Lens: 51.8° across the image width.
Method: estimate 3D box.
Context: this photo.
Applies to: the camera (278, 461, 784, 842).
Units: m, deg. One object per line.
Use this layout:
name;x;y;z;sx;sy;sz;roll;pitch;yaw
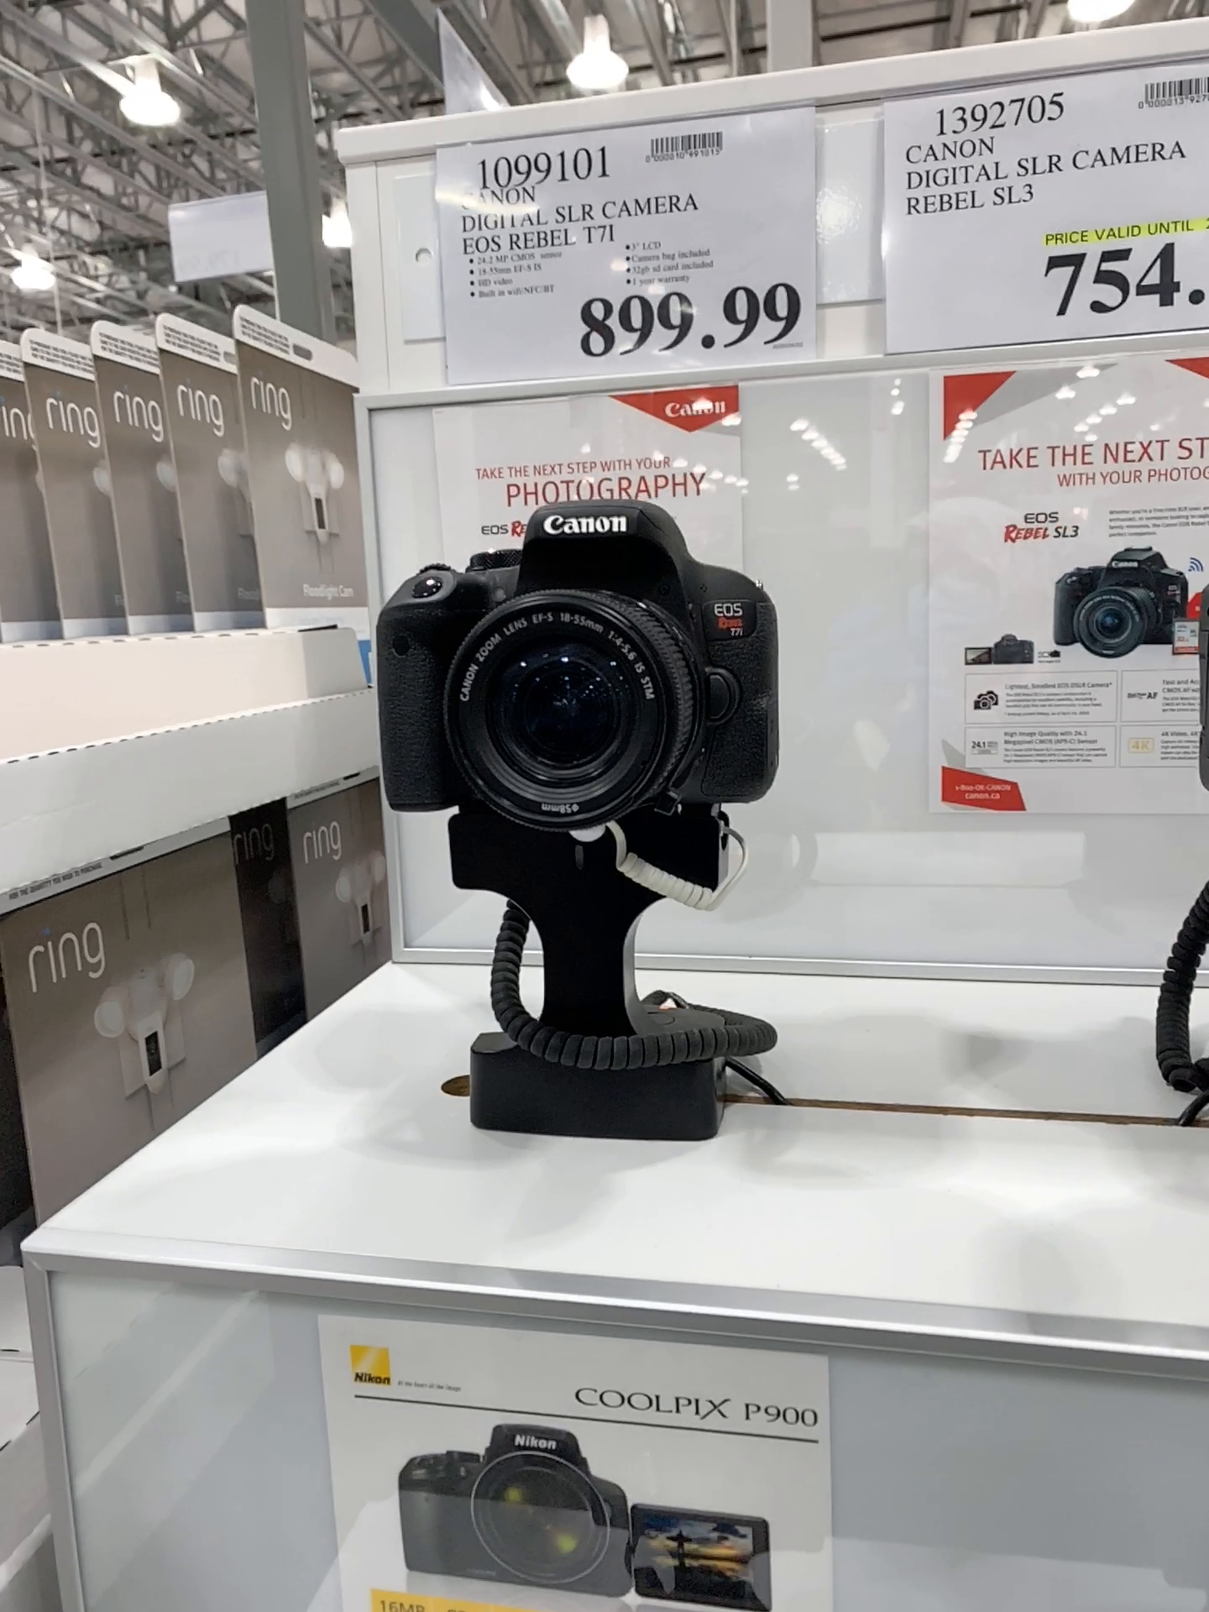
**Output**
camera;-0.011;-0.049;0.398;0.132;0.096;0.130;-1;9;9
